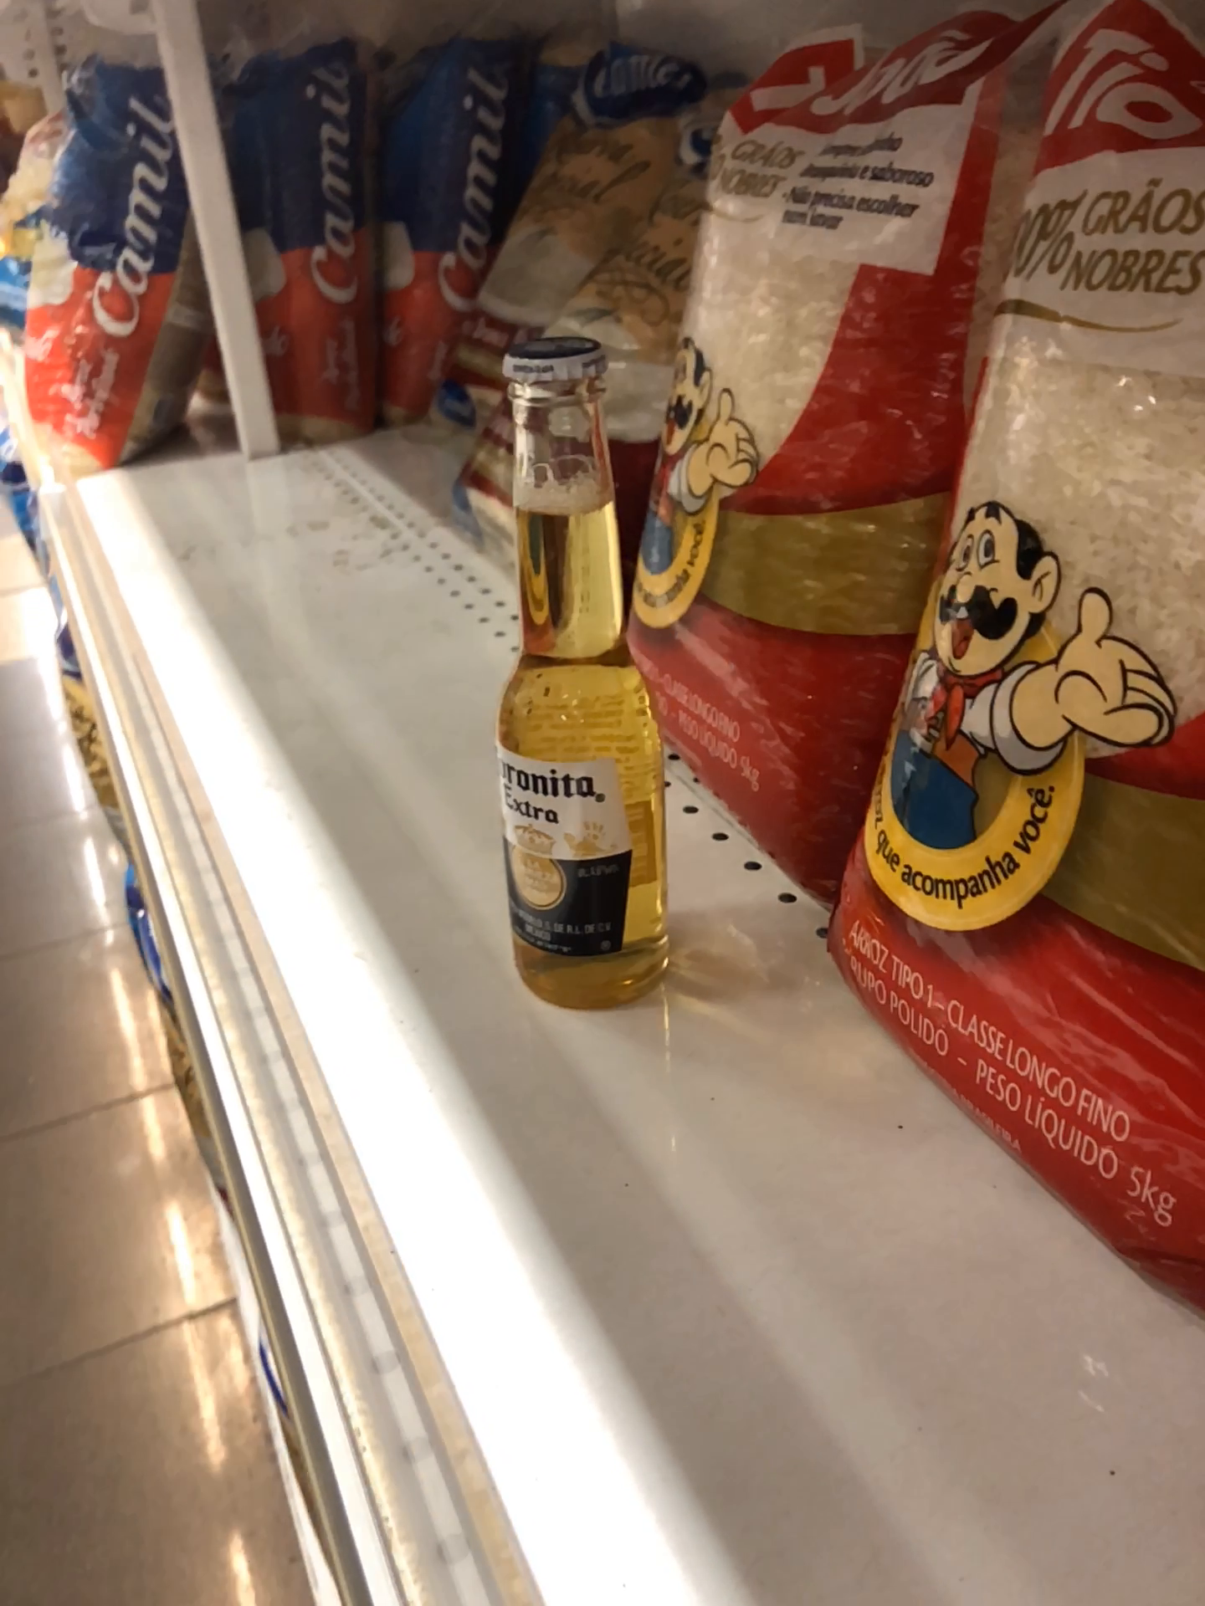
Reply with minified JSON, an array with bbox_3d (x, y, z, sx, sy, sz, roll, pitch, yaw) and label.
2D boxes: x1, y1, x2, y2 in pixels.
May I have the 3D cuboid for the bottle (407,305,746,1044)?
[{"bbox_3d":[-0.001,-0.035,0.392,0.060,0.198,0.060,-3,29,2],"label":"bottle"}]
